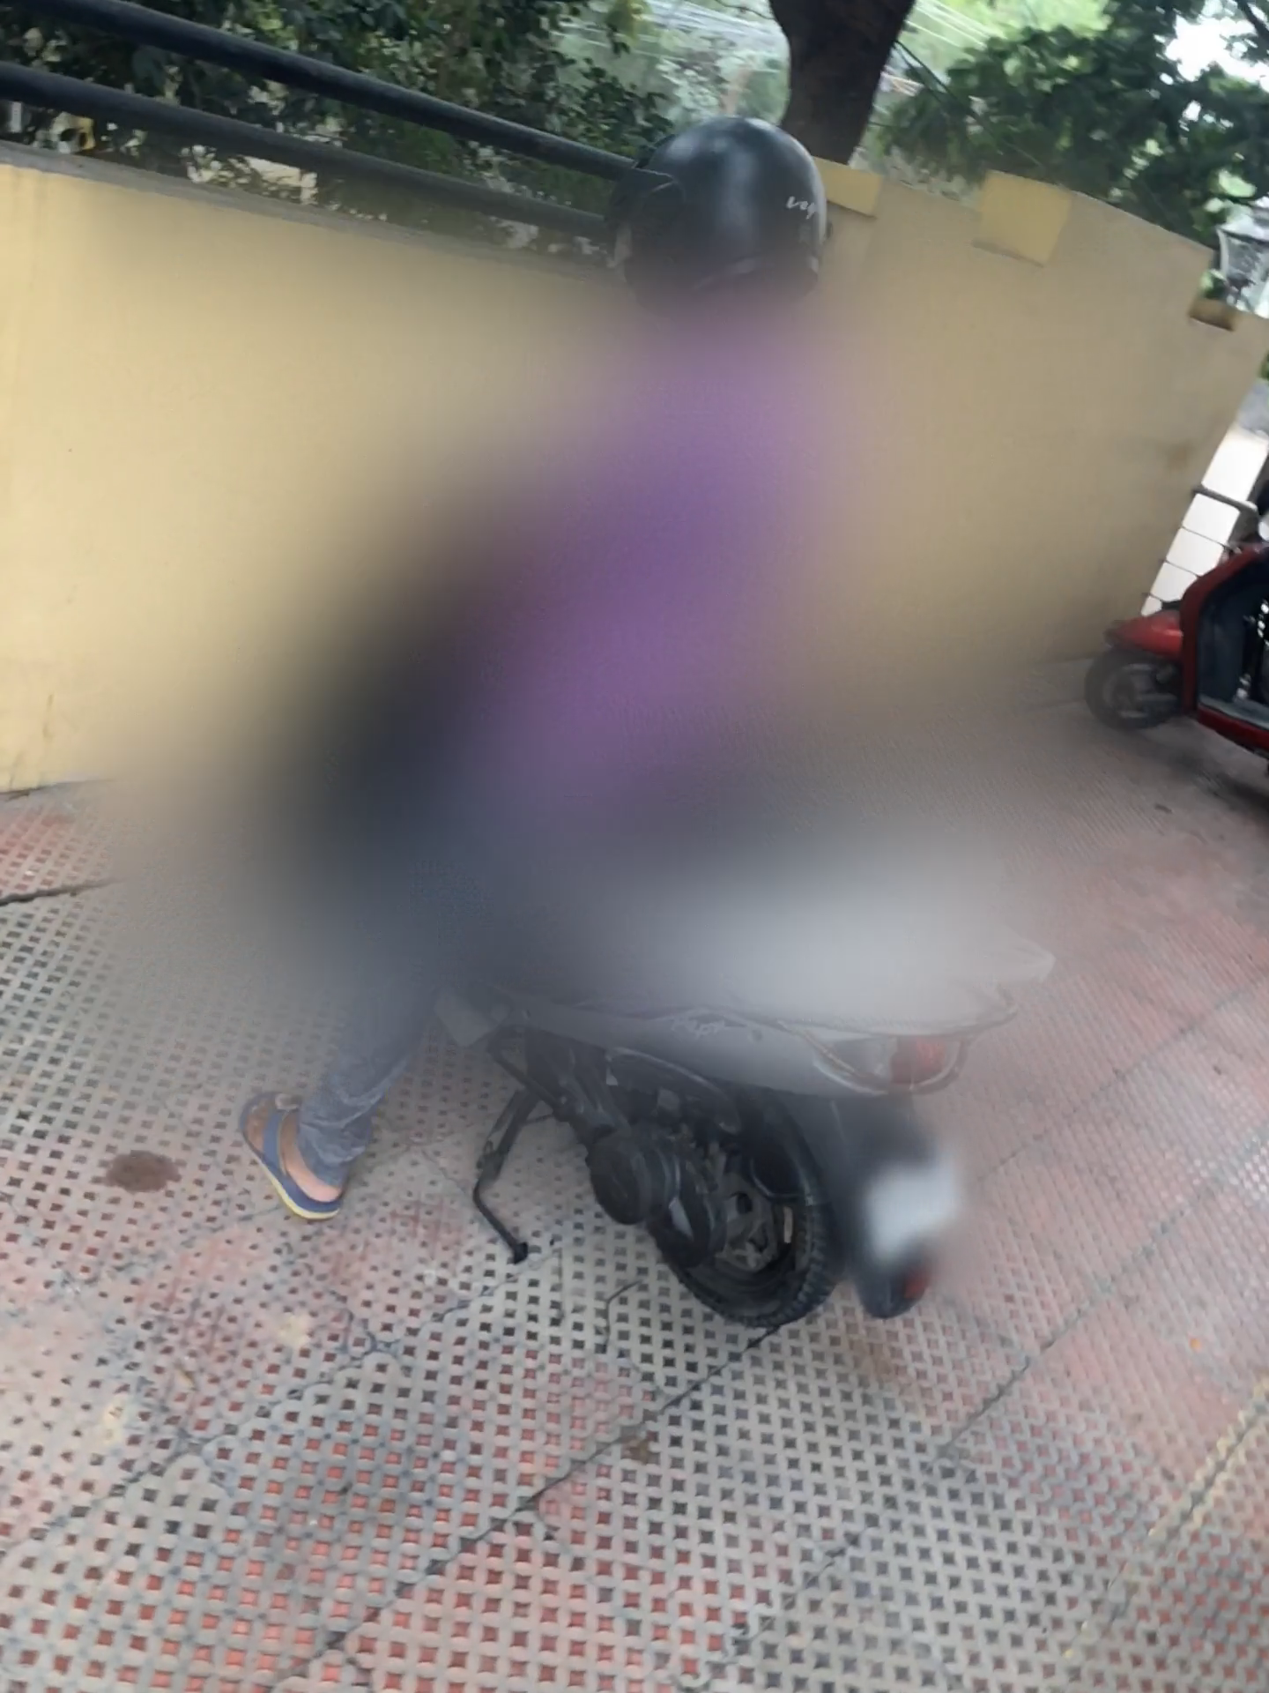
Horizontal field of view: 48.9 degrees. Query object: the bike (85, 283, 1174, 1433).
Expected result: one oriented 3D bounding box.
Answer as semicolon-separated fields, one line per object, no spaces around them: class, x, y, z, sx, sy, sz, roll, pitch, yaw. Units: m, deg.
bike;-0.145;-0.090;2.227;0.645;0.949;1.503;-12;42;-47
